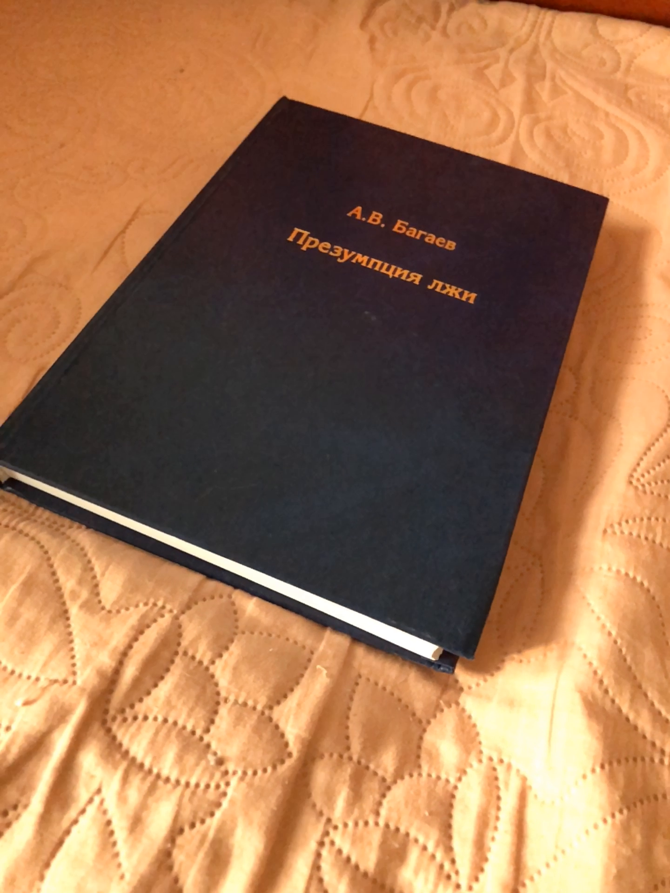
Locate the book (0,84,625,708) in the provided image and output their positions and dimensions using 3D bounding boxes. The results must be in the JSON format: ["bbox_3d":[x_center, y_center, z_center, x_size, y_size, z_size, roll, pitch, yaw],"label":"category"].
[{"bbox_3d":[0.007,-0.053,0.314,0.180,0.030,0.261,21,56,9],"label":"book"}]
